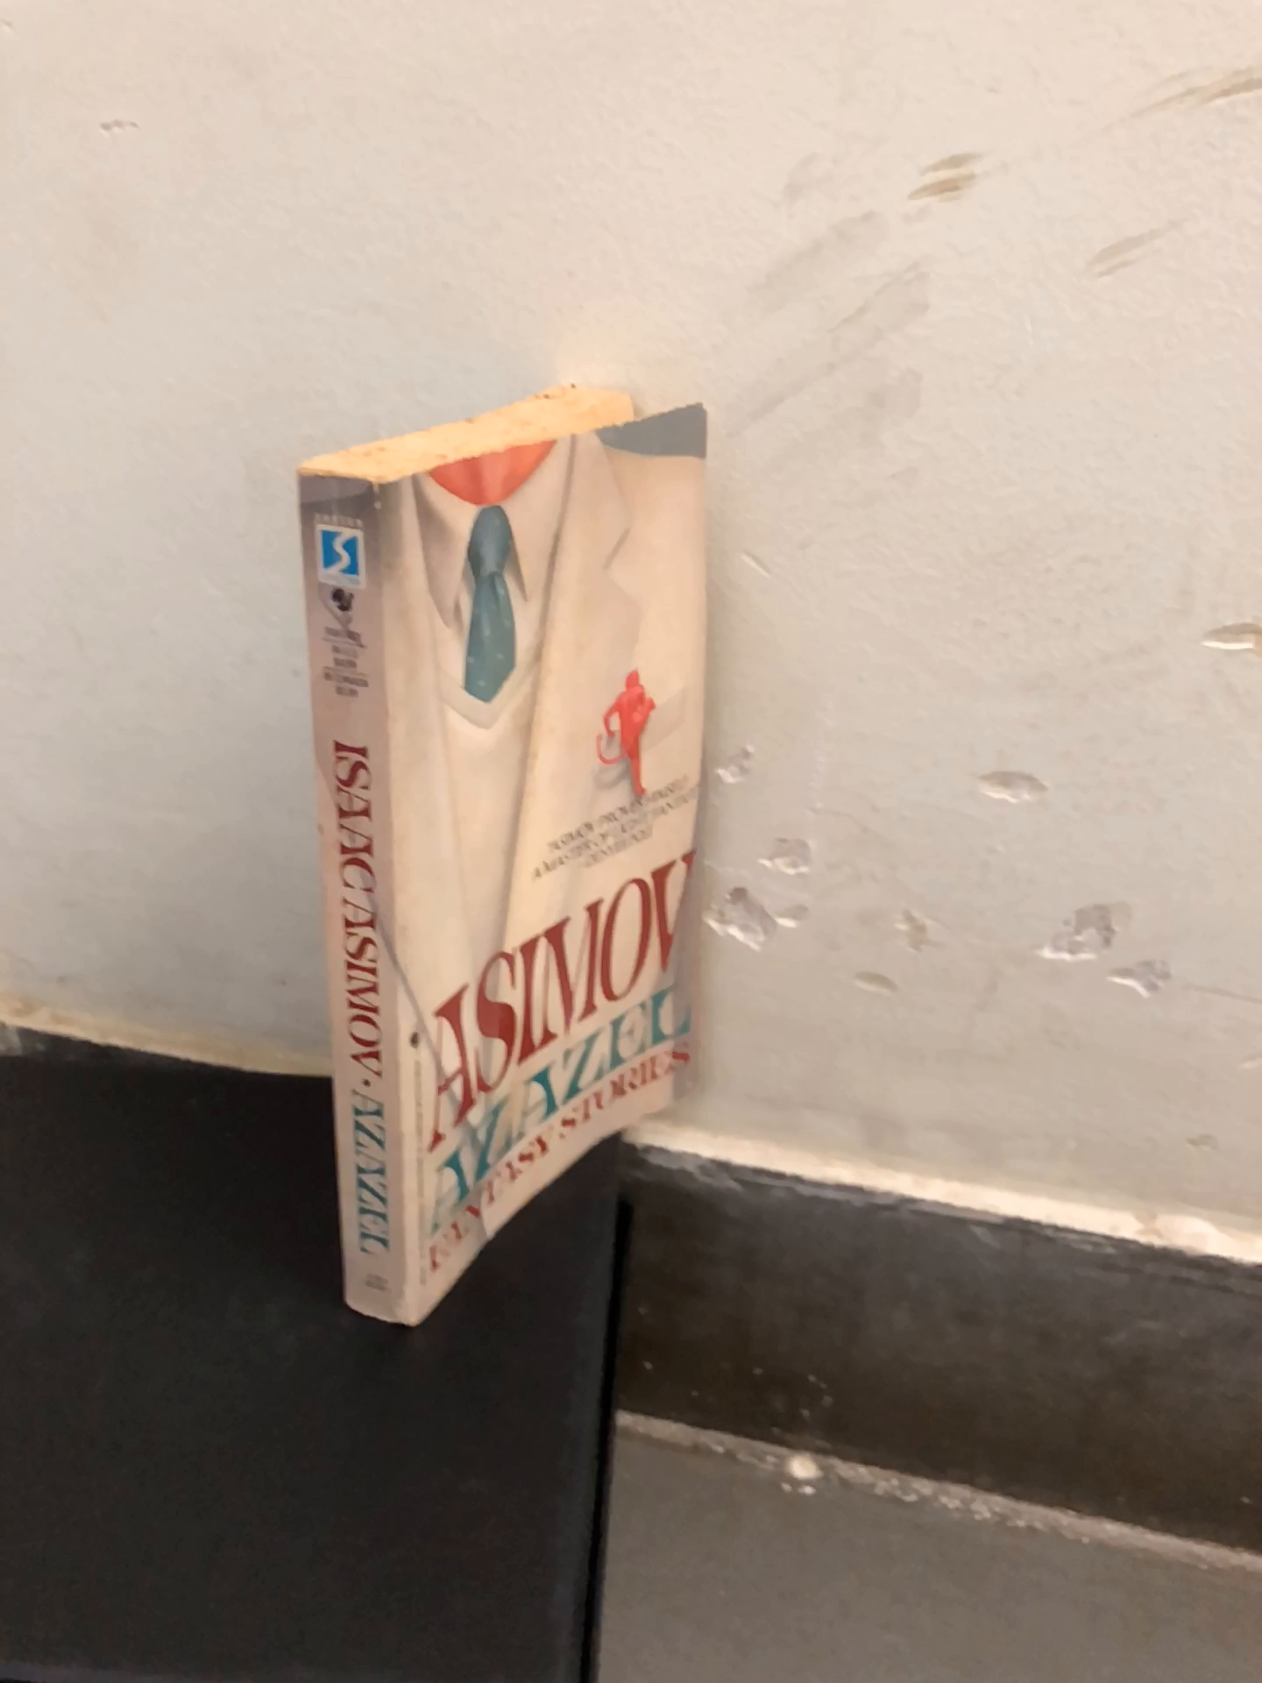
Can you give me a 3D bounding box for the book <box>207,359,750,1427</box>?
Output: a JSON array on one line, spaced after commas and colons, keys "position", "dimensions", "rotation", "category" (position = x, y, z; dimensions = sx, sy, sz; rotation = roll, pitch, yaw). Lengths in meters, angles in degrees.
[{"position": [-0.018, 0.001, 0.313], "dimensions": [0.030, 0.189, 0.151], "rotation": [11, 27, 24], "category": "book"}]
